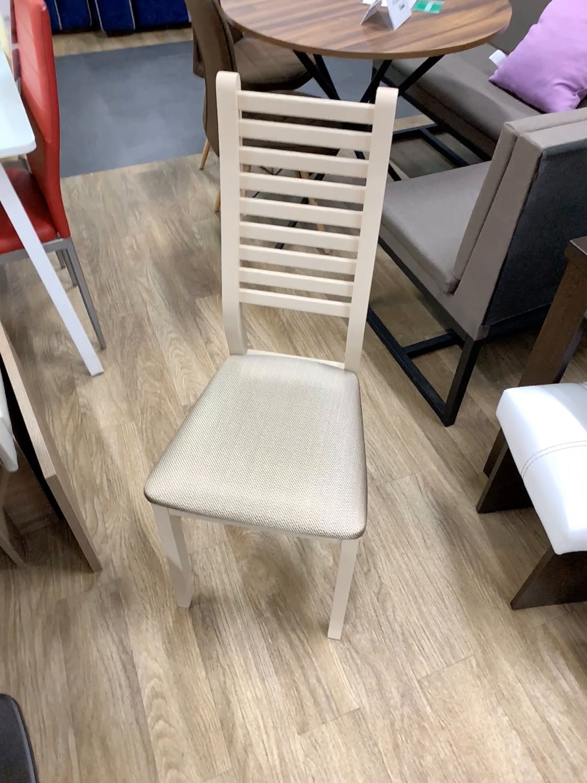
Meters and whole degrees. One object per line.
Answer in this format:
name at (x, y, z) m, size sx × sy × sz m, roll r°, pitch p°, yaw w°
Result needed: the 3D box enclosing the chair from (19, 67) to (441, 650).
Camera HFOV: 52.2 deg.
chair at (-0.038, 0.010, 1.180) m, size 0.440 × 0.985 × 0.553 m, roll 9°, pitch 48°, yaw 7°
